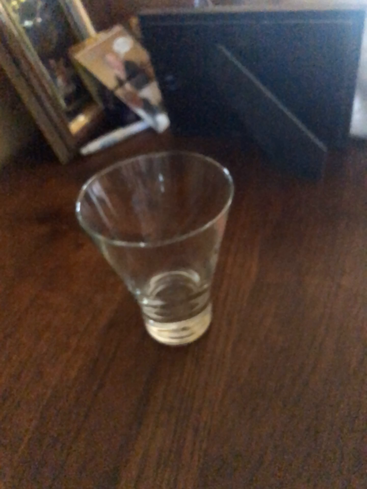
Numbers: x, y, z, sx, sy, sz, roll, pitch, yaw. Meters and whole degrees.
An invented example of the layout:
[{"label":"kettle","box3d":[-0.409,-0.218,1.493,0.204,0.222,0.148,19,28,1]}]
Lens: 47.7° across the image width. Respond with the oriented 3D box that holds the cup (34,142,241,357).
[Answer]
[{"label":"cup","box3d":[-0.015,0.002,0.269,0.100,0.099,0.091,1,43,10]}]
